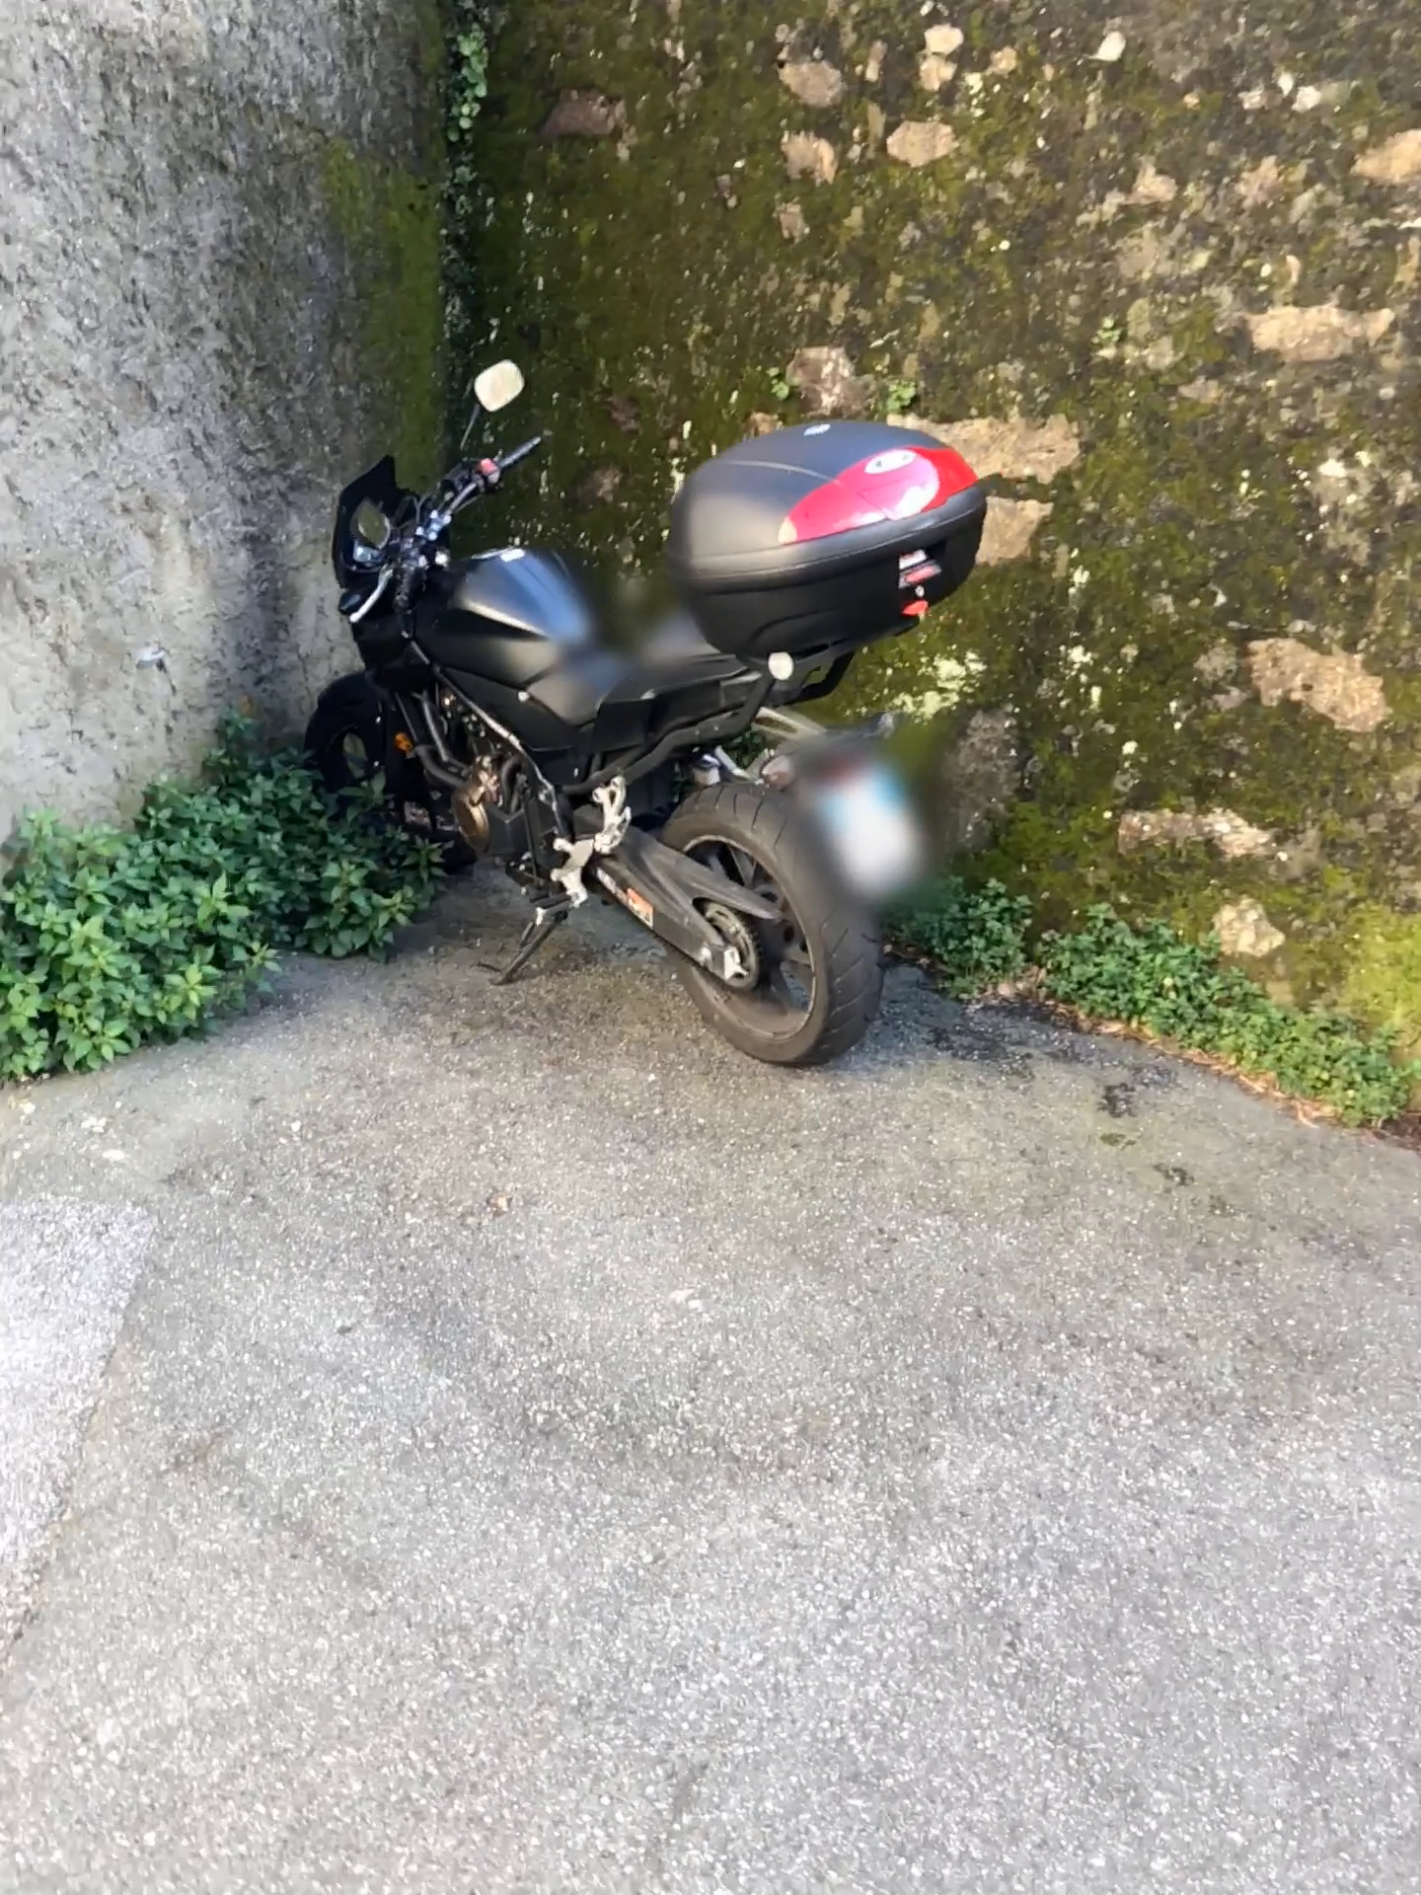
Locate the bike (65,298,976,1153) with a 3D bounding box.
[{"bbox_3d":[-0.476,-0.588,3.331,1.786,1.198,0.713,22,26,34],"label":"bike"}]
